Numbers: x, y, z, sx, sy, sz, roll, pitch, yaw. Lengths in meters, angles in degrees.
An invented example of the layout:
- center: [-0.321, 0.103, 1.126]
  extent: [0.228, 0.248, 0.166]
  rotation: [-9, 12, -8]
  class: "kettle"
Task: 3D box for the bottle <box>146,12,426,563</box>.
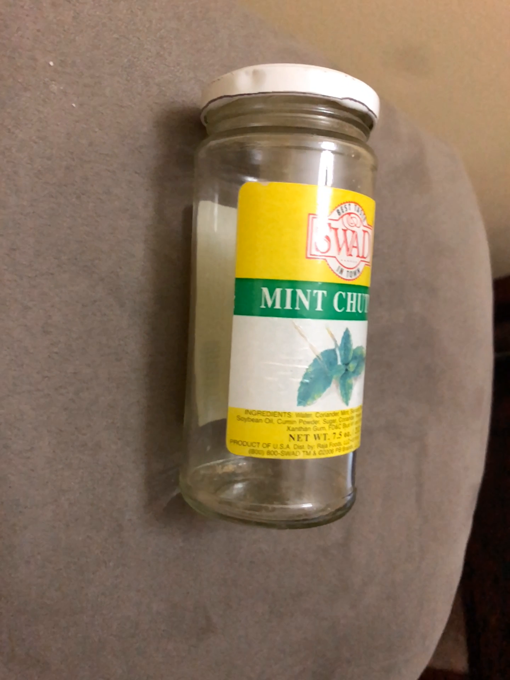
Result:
- center: [0.007, -0.013, 0.178]
  extent: [0.057, 0.056, 0.133]
  rotation: [0, 95, -35]
  class: "bottle"
